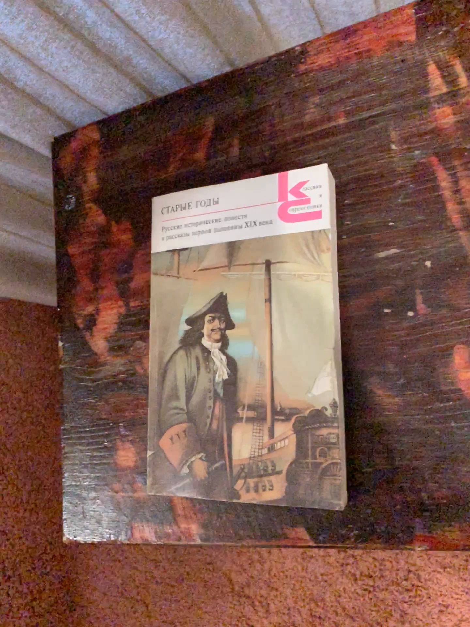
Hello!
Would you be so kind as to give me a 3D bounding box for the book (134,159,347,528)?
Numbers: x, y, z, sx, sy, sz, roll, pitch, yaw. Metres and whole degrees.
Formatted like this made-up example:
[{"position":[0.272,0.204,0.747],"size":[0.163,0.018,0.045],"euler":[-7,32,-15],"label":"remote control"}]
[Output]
[{"position":[-0.001,0.017,0.296],"size":[0.123,0.026,0.197],"euler":[-5,81,23],"label":"book"}]
